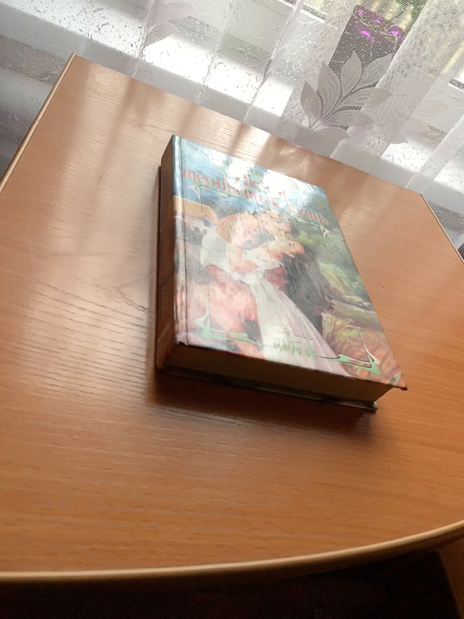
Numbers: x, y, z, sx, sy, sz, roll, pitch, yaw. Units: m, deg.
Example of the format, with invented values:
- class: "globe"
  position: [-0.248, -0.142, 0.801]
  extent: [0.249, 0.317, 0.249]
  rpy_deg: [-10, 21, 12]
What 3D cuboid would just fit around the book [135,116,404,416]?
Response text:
- class: "book"
  position: [0.016, -0.041, 0.316]
  extent: [0.140, 0.030, 0.211]
  rpy_deg: [14, 43, -20]
